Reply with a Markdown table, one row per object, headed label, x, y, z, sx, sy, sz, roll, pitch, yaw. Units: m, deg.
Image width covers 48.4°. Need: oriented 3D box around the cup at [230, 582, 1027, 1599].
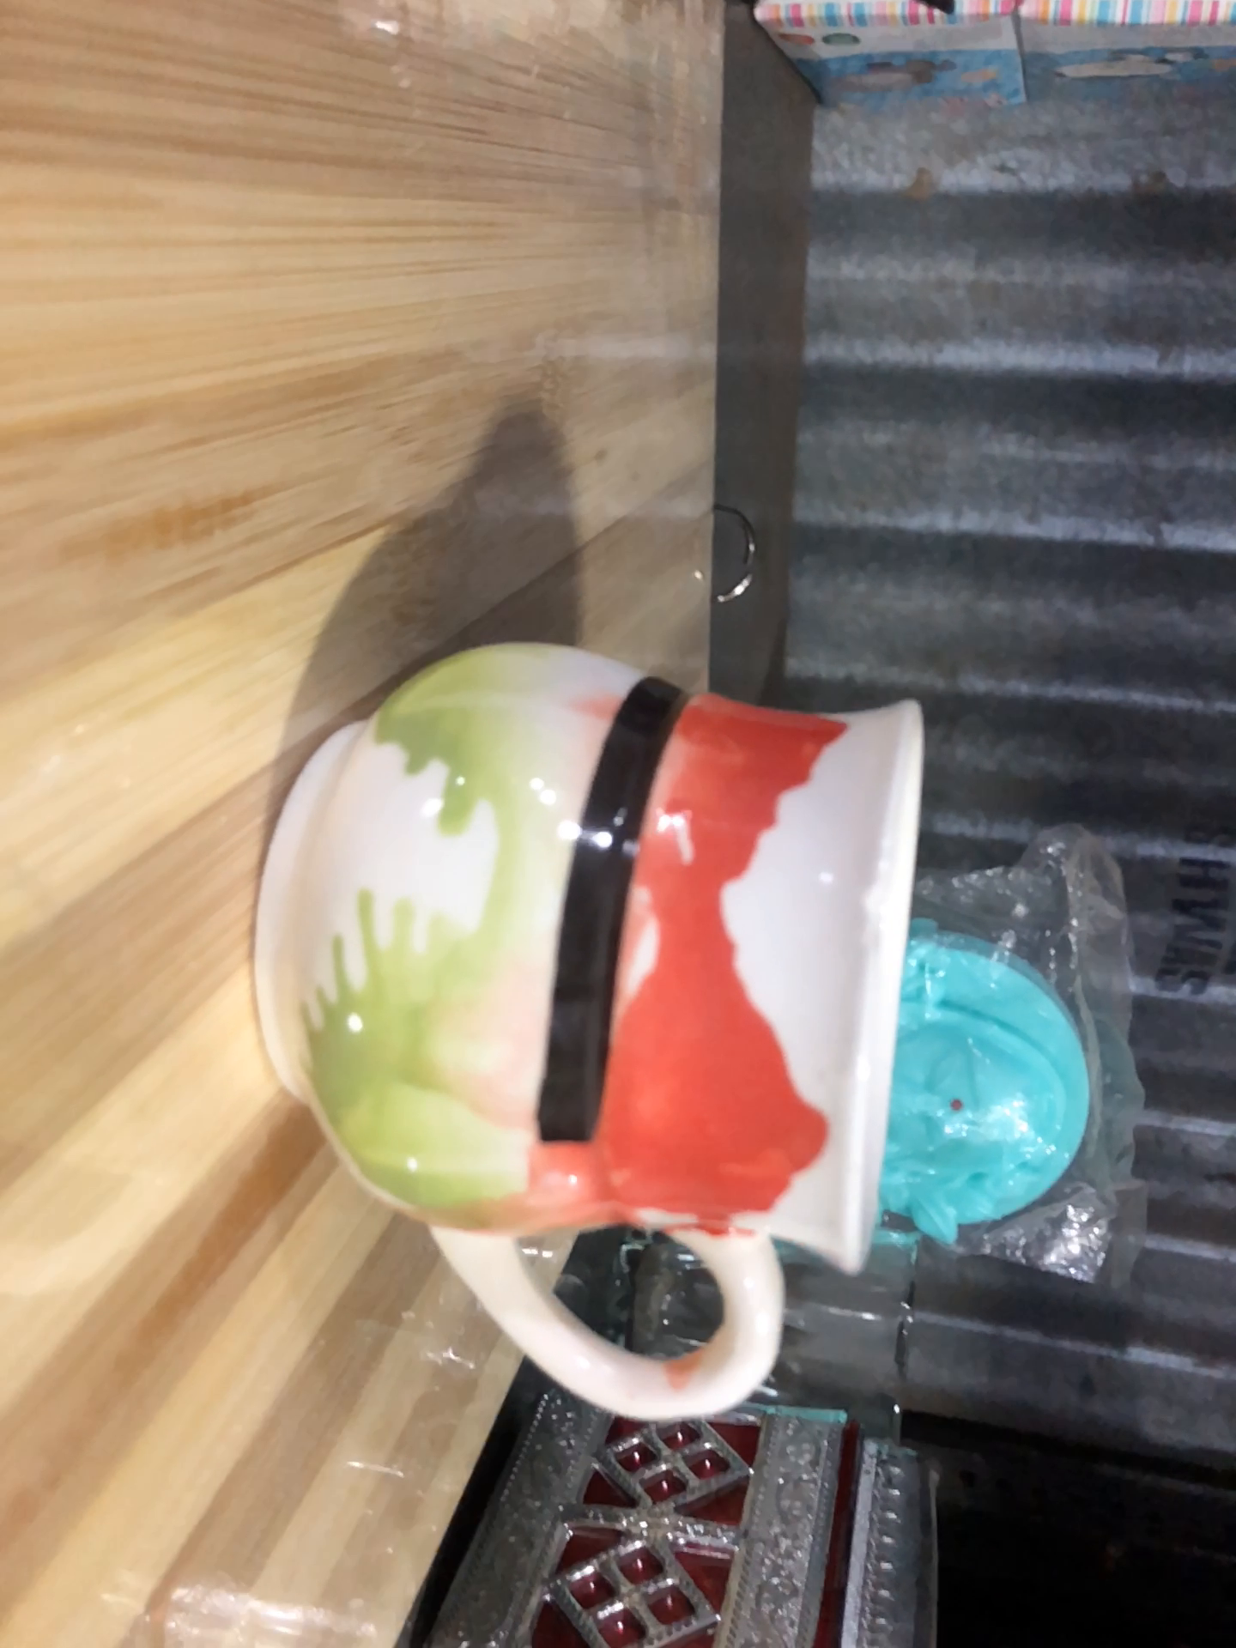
| label | x | y | z | sx | sy | sz | roll | pitch | yaw |
| --- | --- | --- | --- | --- | --- | --- | --- | --- | --- |
| cup | 0.005 | 0.023 | 0.160 | 0.060 | 0.070 | 0.090 | -53 | 147 | -69 |
